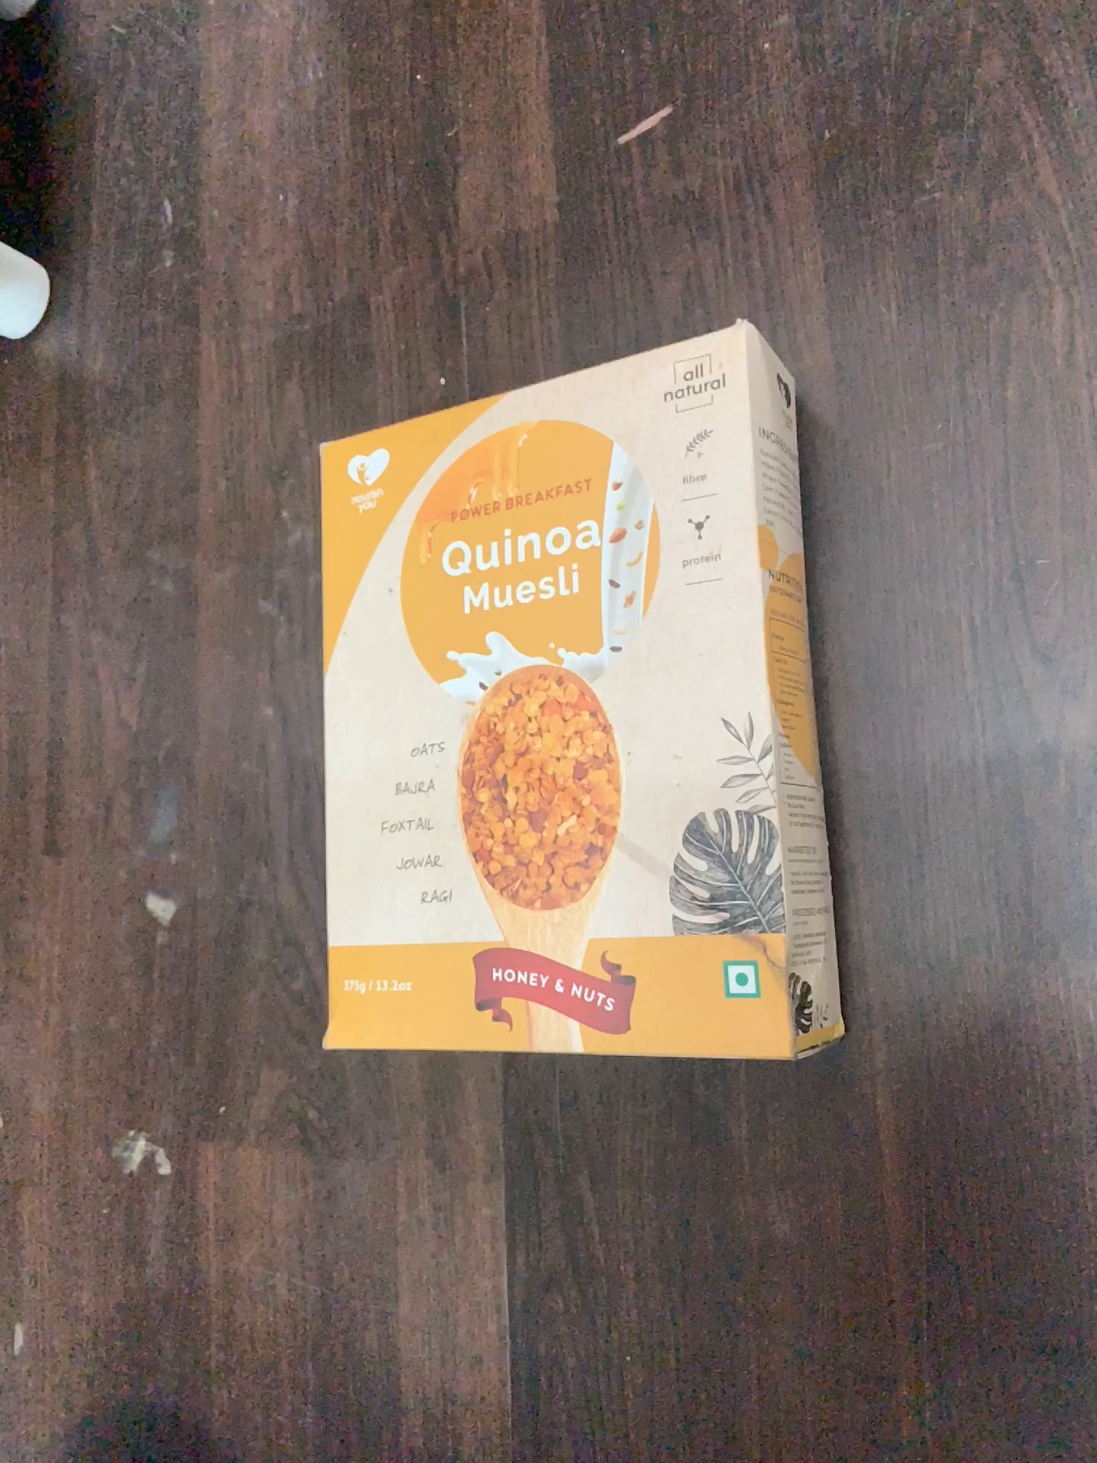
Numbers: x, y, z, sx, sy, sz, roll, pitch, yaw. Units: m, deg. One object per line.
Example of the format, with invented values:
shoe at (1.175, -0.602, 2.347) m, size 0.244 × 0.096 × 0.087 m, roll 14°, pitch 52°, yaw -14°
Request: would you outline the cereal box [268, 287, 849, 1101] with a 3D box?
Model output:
cereal box at (-0.004, -0.004, 0.369) m, size 0.171 × 0.060 × 0.220 m, roll -7°, pitch 83°, yaw 29°
